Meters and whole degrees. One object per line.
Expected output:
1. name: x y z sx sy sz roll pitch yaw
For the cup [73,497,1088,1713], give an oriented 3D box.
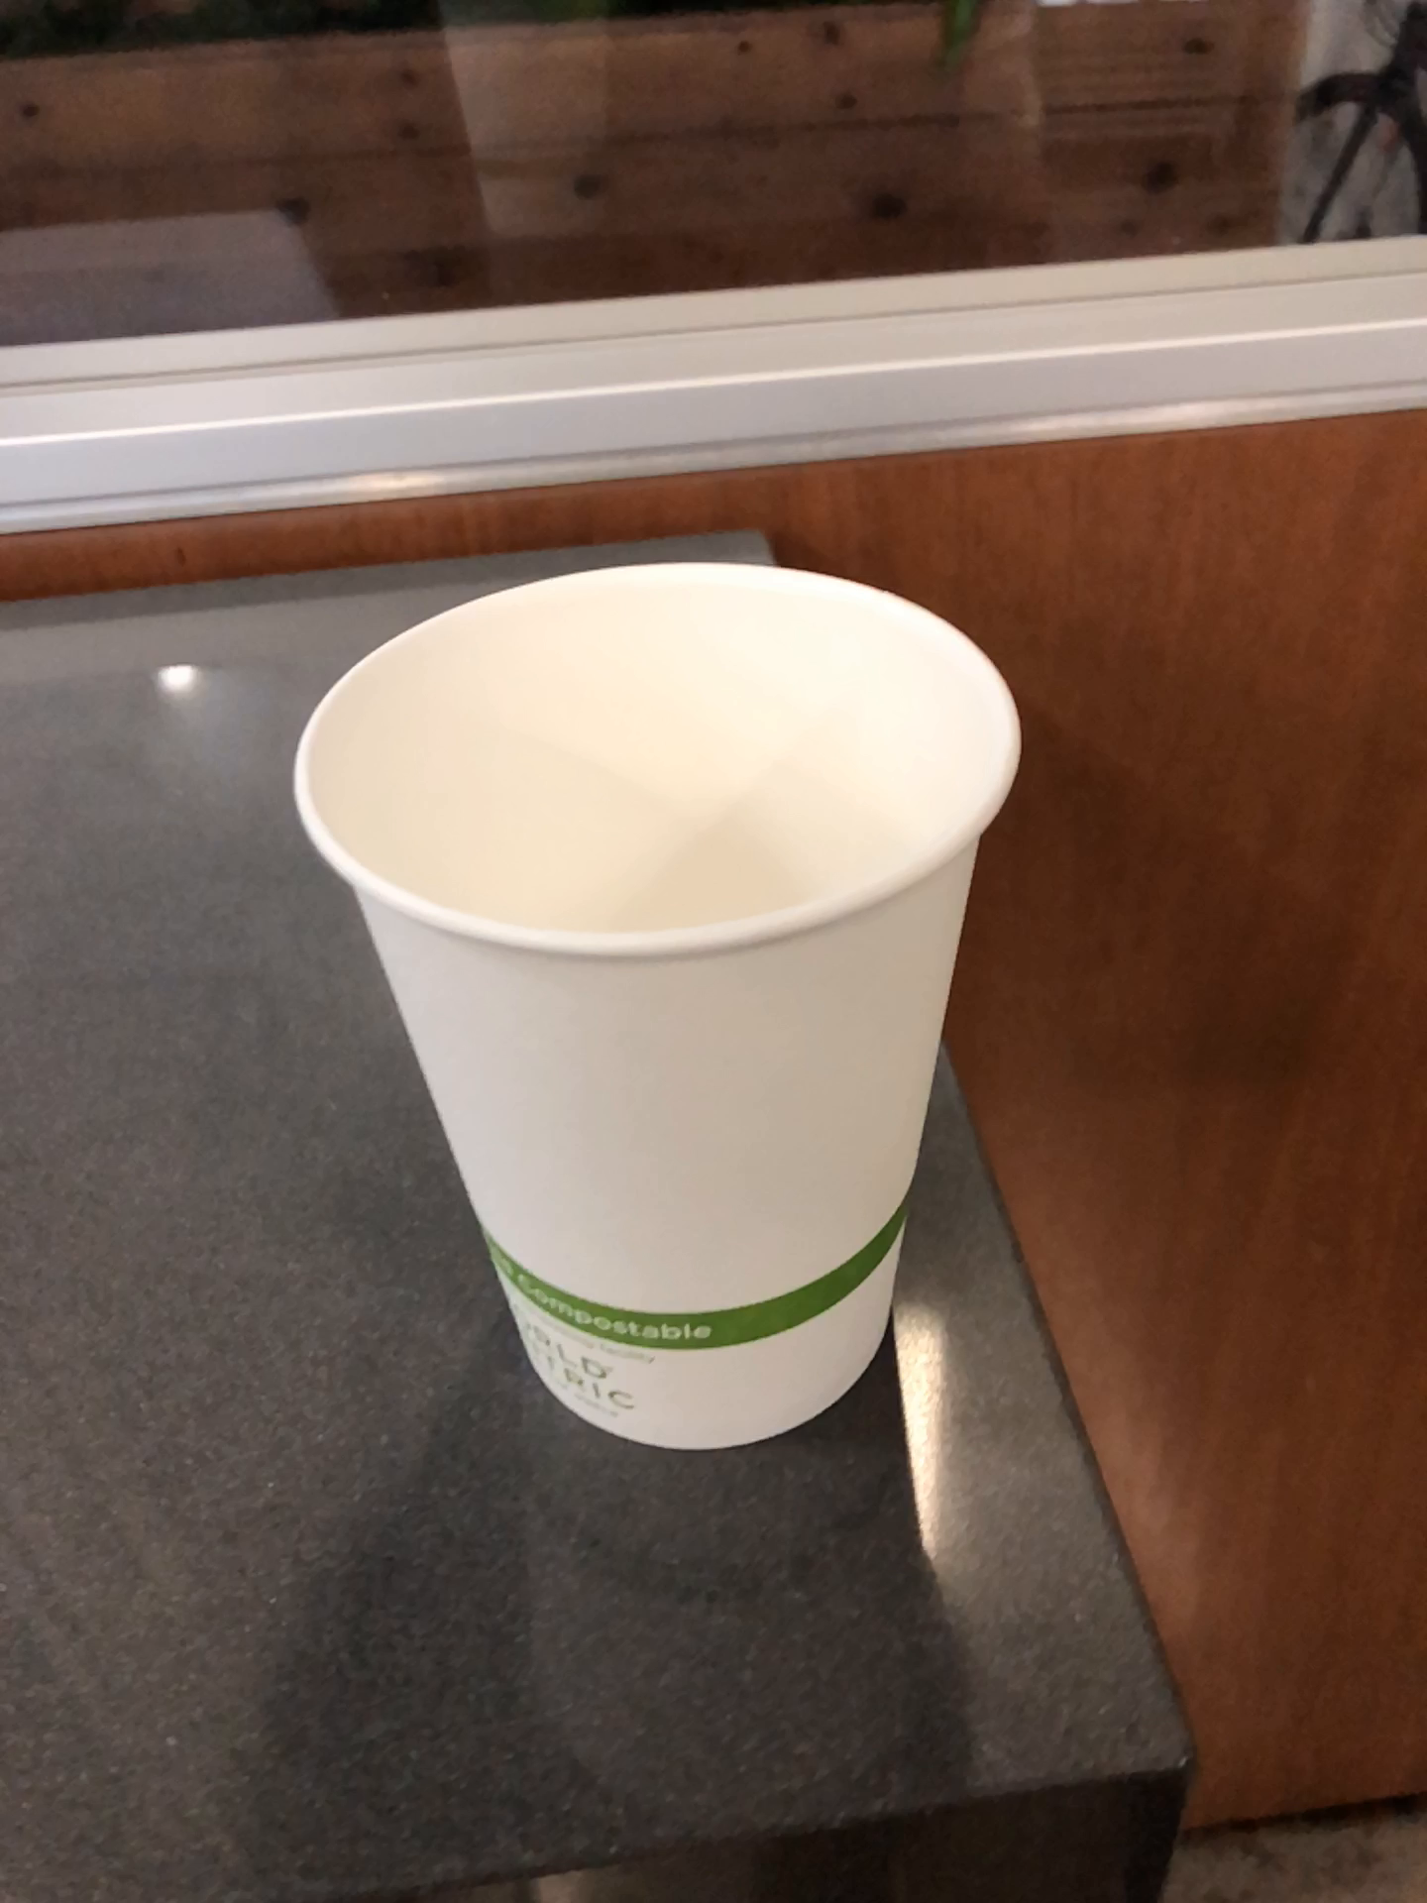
1. cup: -0.011 0.017 0.224 0.080 0.119 0.090 23 44 30
